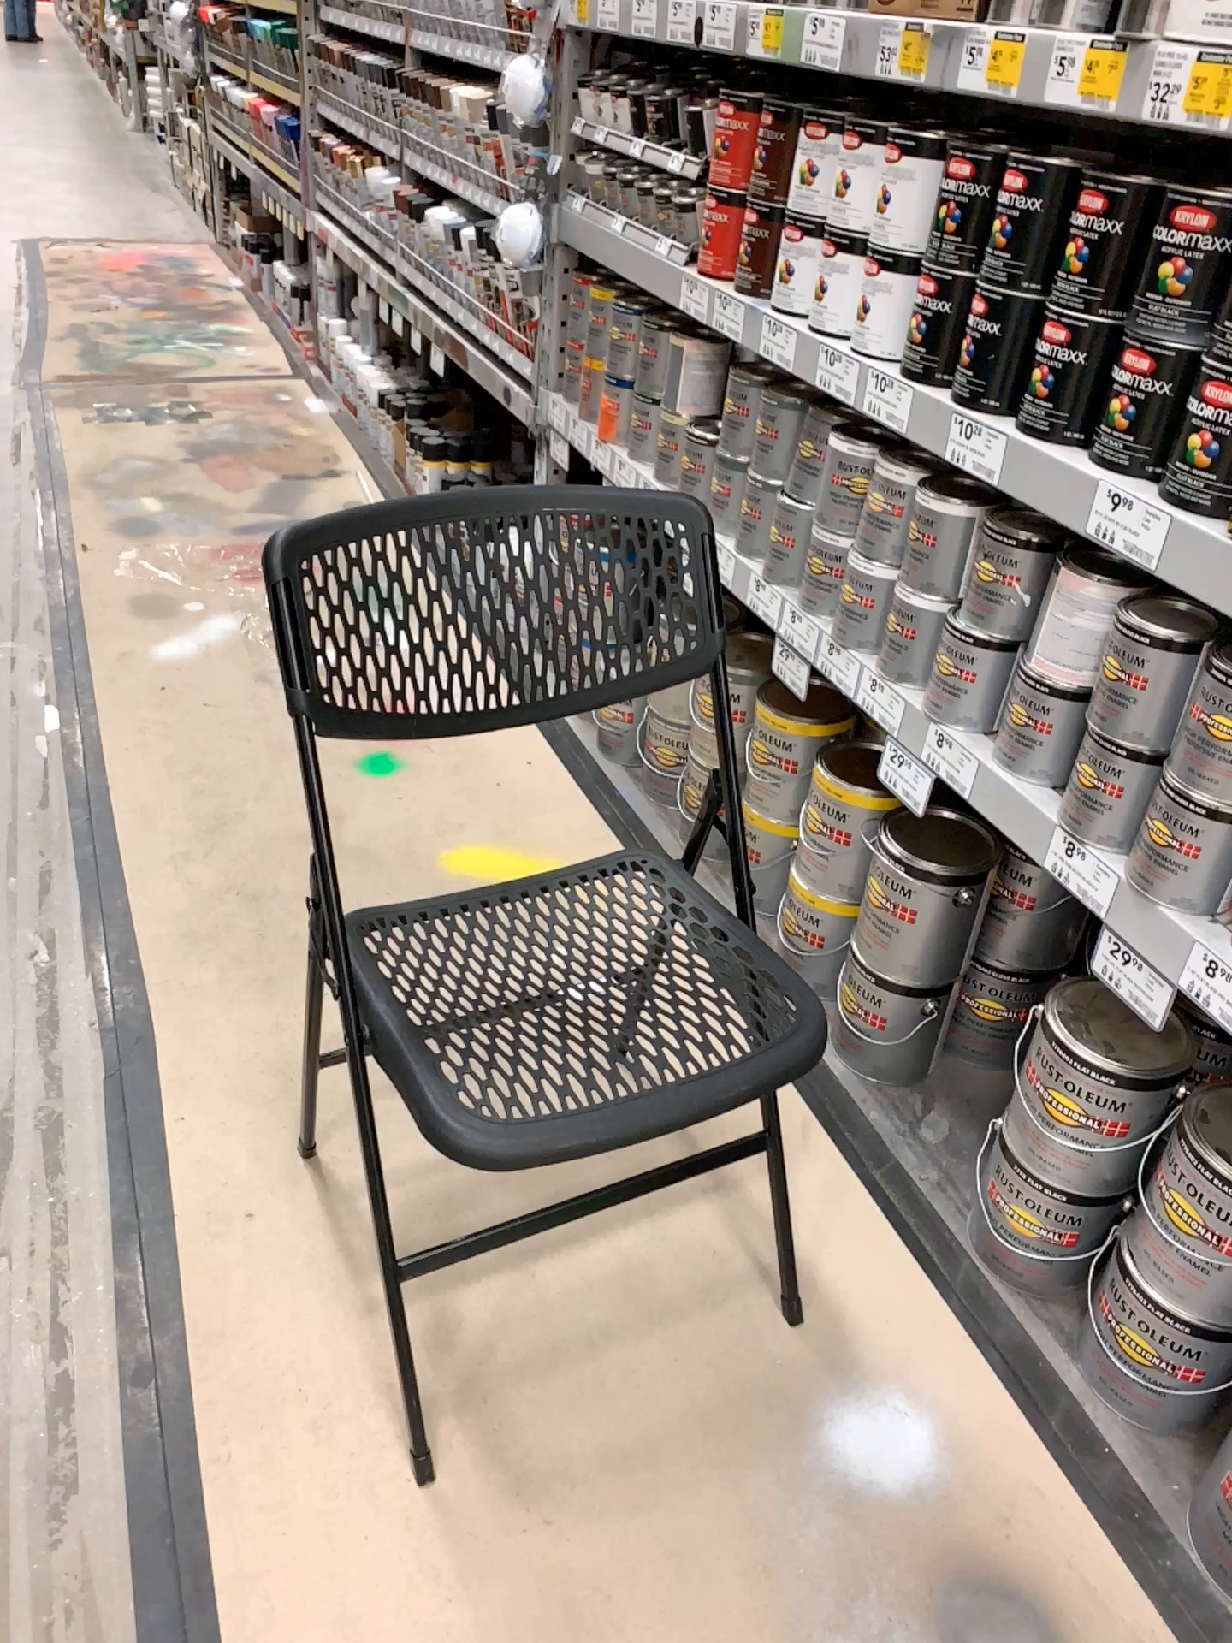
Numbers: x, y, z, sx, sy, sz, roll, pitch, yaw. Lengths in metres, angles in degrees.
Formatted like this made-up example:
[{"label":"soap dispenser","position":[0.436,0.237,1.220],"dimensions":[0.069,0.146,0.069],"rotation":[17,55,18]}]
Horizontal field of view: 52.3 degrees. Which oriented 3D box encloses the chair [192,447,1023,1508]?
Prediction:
[{"label":"chair","position":[-0.063,0.125,1.263],"dimensions":[0.519,0.814,0.517],"rotation":[-12,36,-24]}]
